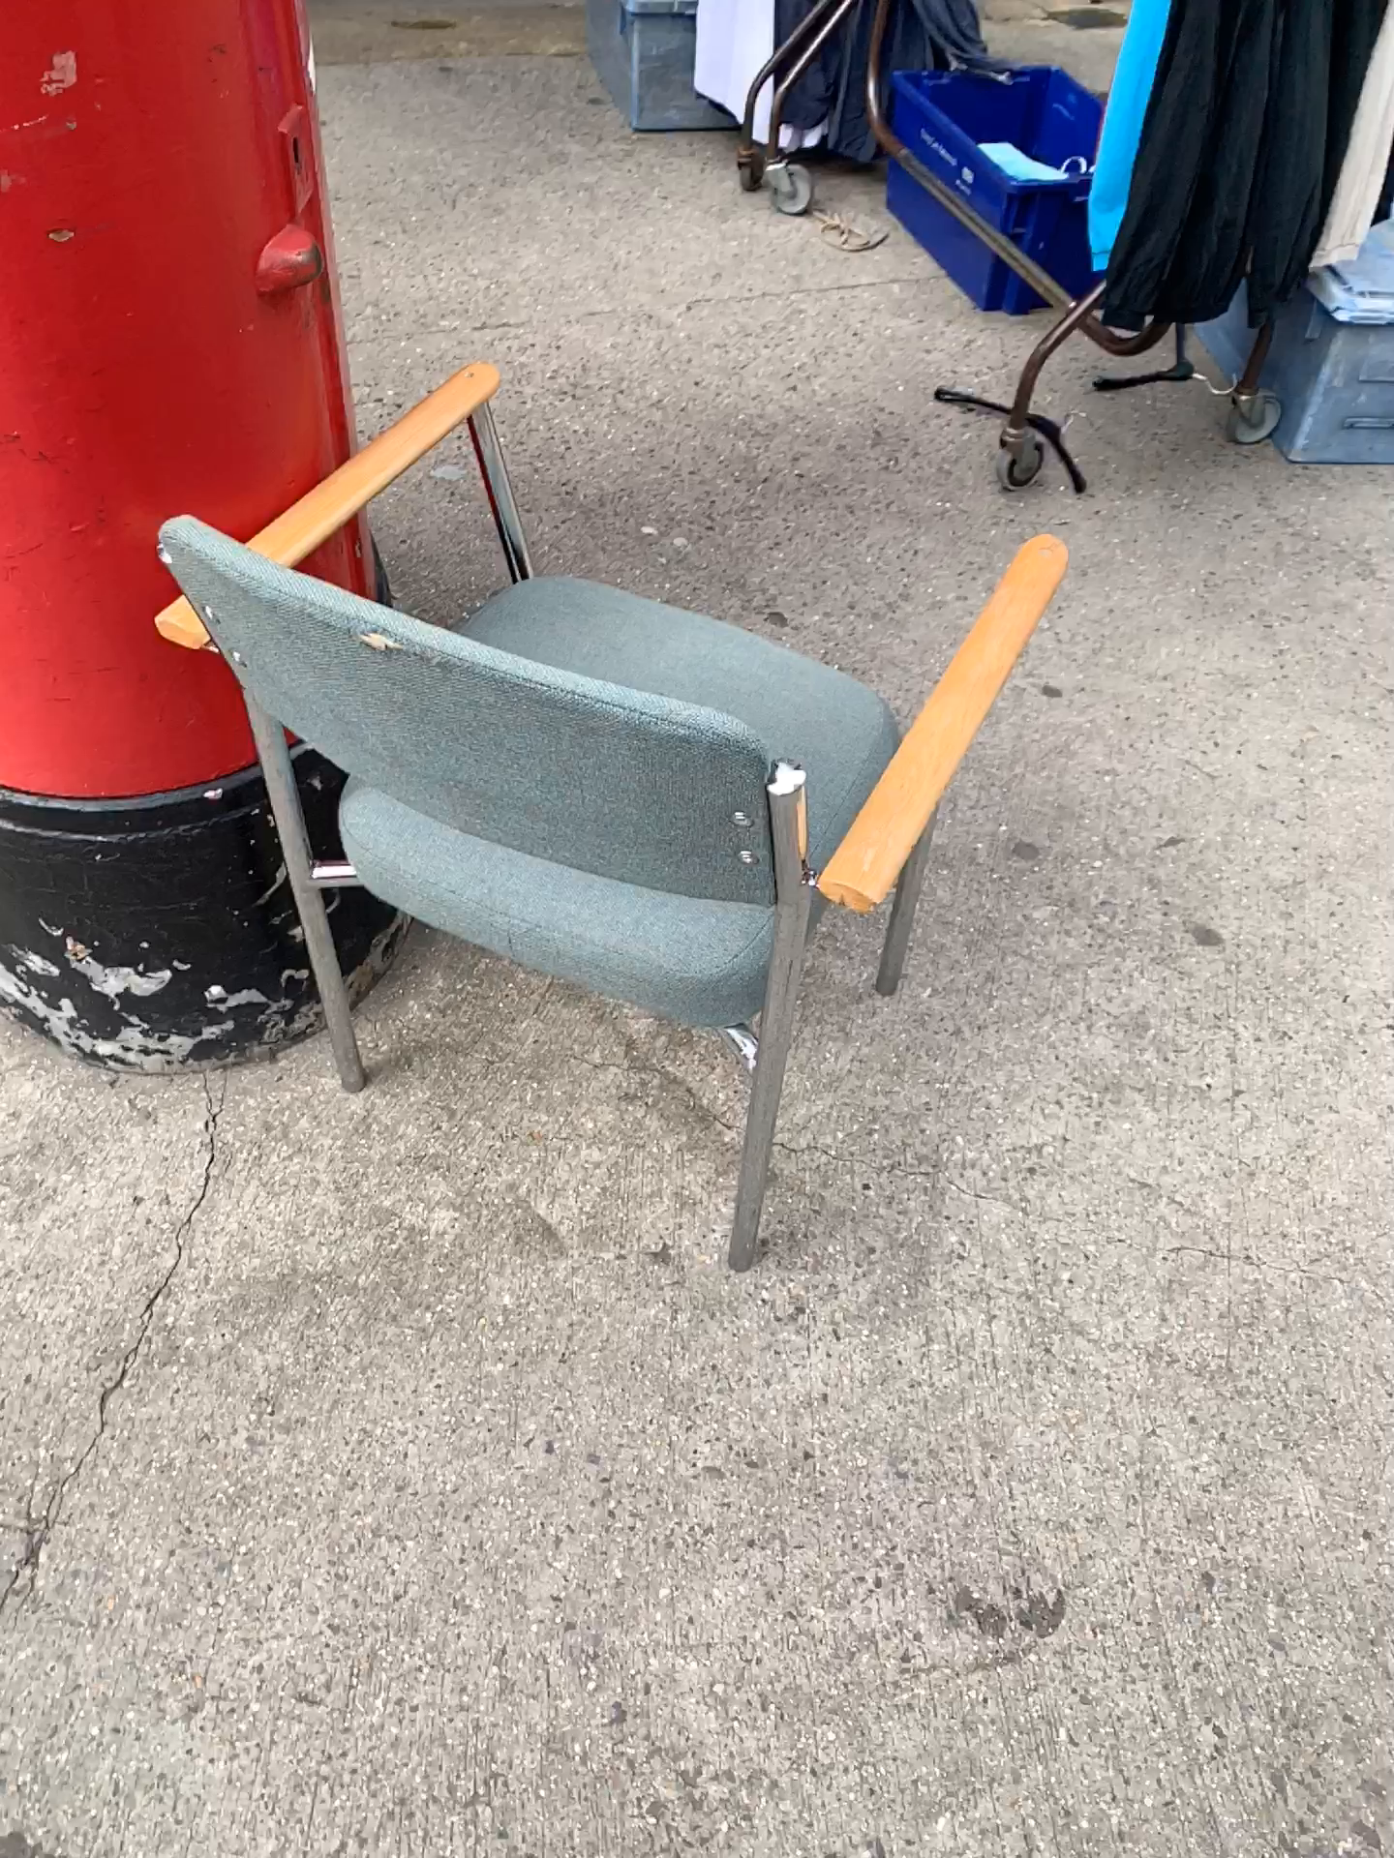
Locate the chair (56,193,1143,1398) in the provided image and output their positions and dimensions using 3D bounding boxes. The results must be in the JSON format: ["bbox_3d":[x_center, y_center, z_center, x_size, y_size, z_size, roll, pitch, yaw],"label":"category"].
[{"bbox_3d":[-0.049,-0.113,1.264,0.558,0.740,0.574,21,49,15],"label":"chair"}]
